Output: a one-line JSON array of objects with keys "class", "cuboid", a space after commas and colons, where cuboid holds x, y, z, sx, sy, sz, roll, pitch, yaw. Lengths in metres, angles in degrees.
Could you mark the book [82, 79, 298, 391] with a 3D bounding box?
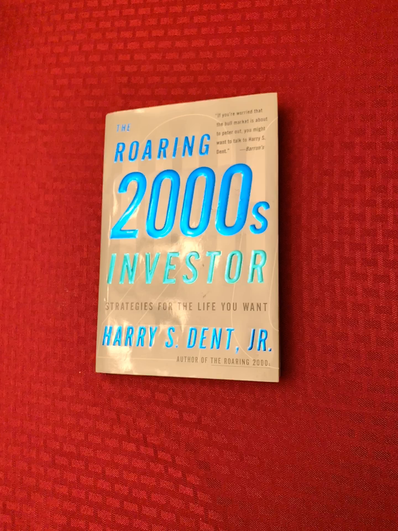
[{"class": "book", "cuboid": [-0.005, -0.025, 0.350, 0.170, 0.040, 0.240, -1, 82, 14]}]
